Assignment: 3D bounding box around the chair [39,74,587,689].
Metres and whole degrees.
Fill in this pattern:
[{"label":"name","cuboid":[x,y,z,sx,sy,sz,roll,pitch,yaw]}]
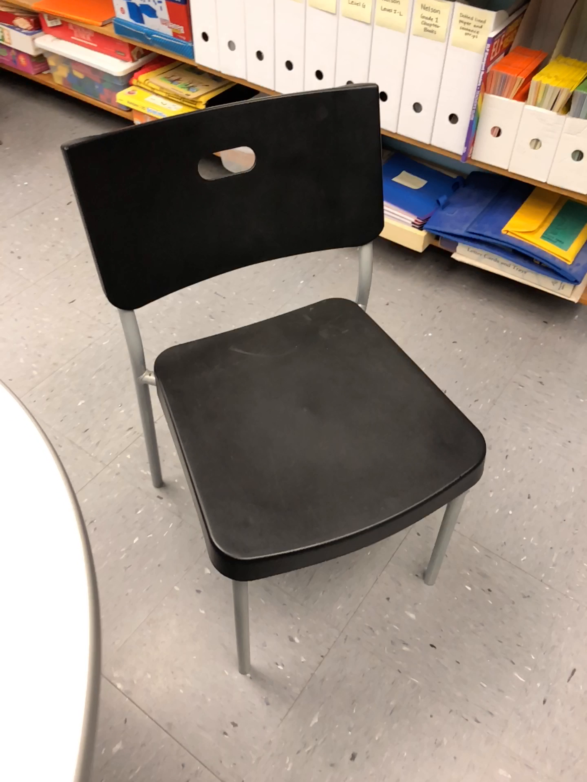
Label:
[{"label":"chair","cuboid":[-0.011,0.027,1.027,0.466,0.777,0.475,-19,52,-16]}]
